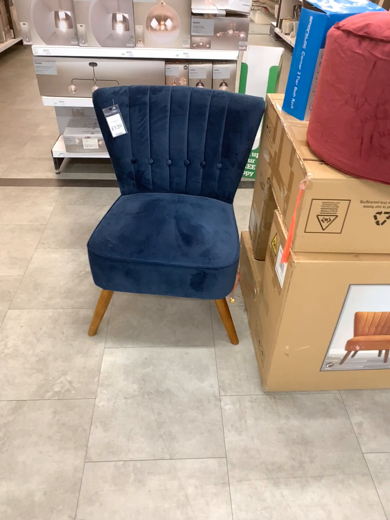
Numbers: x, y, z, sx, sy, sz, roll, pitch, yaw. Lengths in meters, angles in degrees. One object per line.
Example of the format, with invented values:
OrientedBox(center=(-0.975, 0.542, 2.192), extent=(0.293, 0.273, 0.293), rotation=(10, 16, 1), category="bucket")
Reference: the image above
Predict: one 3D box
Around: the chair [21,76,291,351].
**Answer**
OrientedBox(center=(-0.099, -0.207, 1.597), extent=(0.729, 0.789, 0.733), rotation=(4, 38, 2), category="chair")
